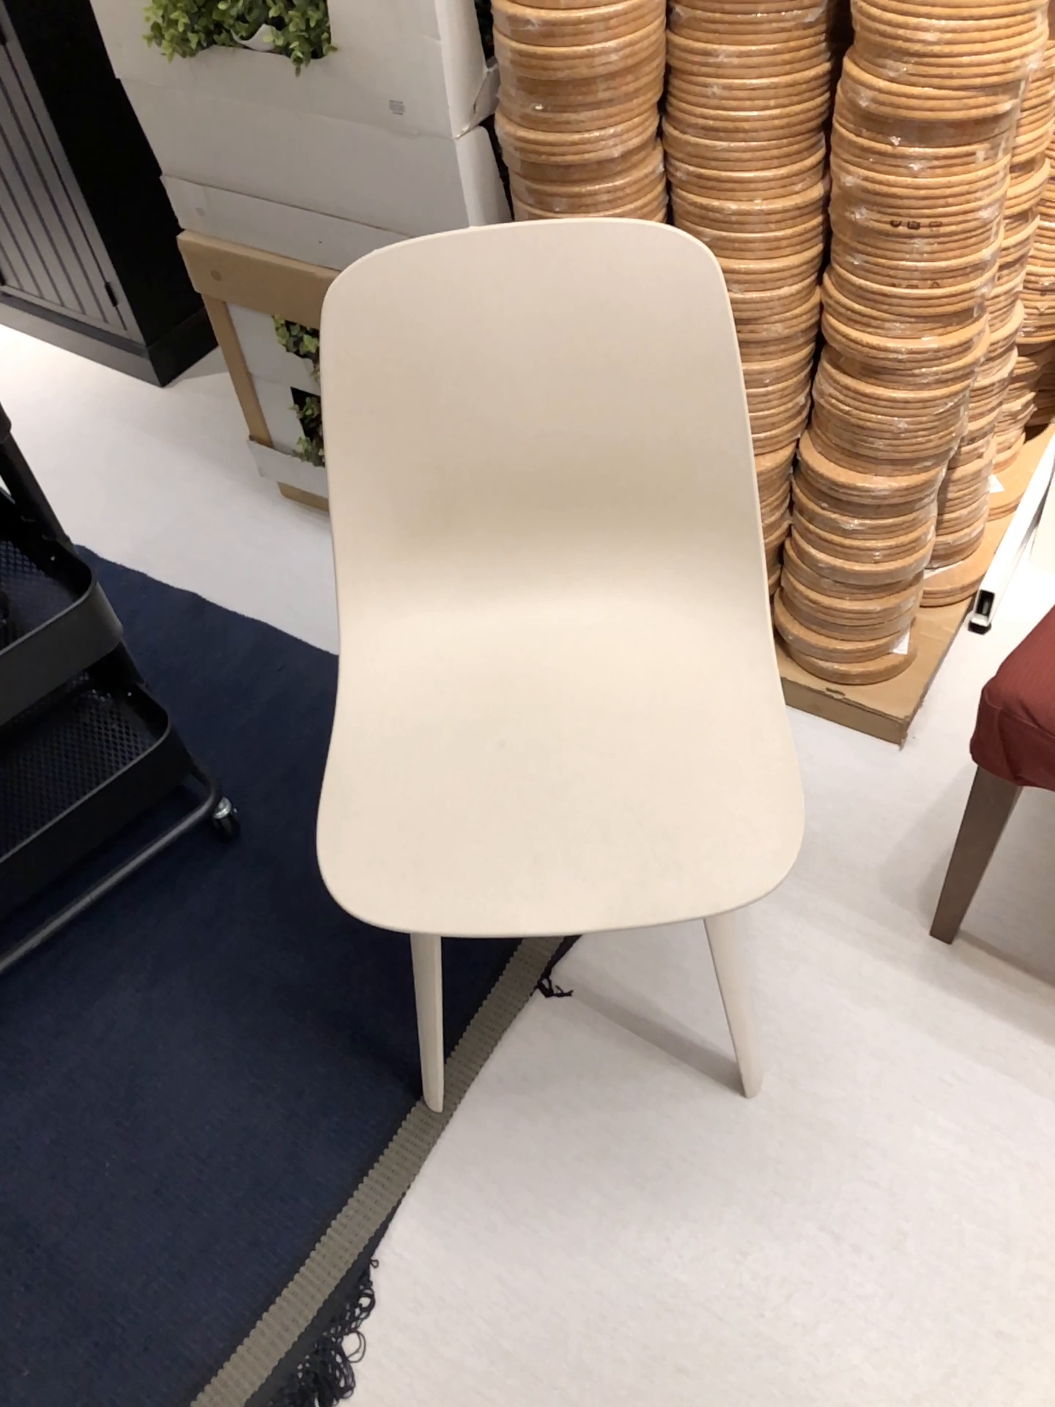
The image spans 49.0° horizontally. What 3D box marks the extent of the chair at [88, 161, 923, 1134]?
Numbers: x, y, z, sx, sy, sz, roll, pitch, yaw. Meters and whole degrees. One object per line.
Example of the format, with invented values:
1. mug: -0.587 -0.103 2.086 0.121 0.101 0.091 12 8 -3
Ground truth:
1. chair: 0.022 0.004 1.042 0.450 0.696 0.493 -6 50 5
